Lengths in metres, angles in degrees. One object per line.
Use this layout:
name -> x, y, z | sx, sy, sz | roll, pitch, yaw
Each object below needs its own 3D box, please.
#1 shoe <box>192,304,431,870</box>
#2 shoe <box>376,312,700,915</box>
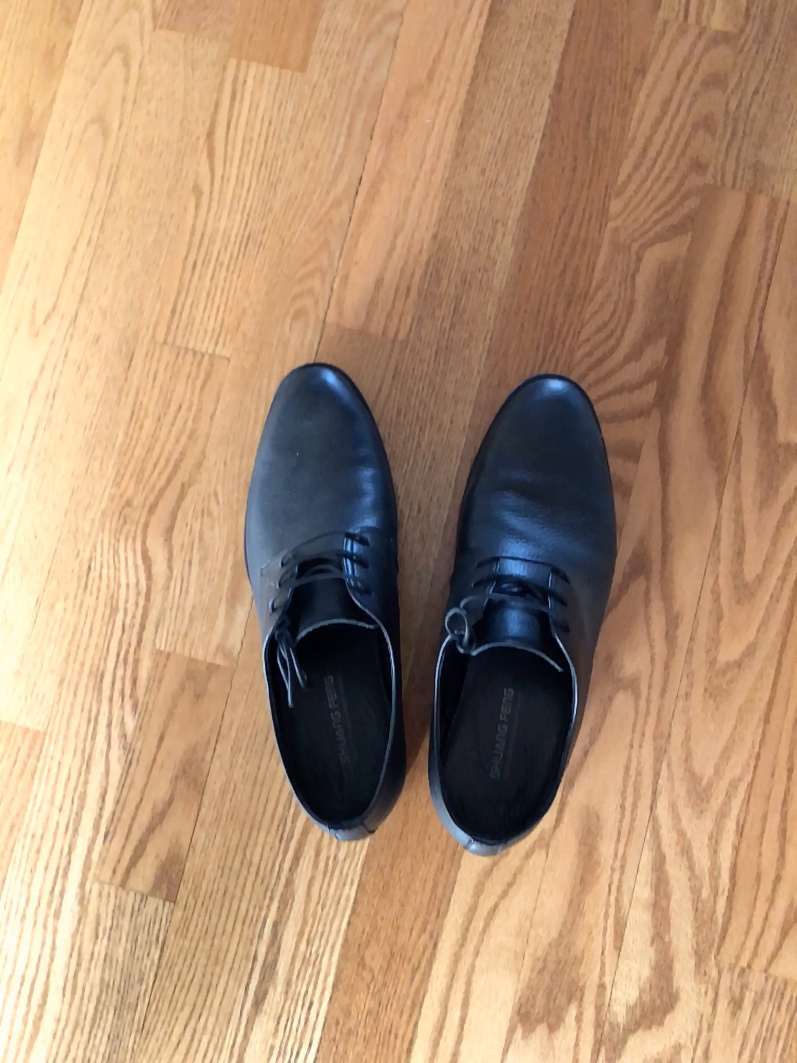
shoe -> -0.048, 0.033, 0.546 | 0.110, 0.124, 0.304 | -5, 84, 3
shoe -> 0.079, 0.043, 0.524 | 0.110, 0.124, 0.299 | 12, 85, 5
